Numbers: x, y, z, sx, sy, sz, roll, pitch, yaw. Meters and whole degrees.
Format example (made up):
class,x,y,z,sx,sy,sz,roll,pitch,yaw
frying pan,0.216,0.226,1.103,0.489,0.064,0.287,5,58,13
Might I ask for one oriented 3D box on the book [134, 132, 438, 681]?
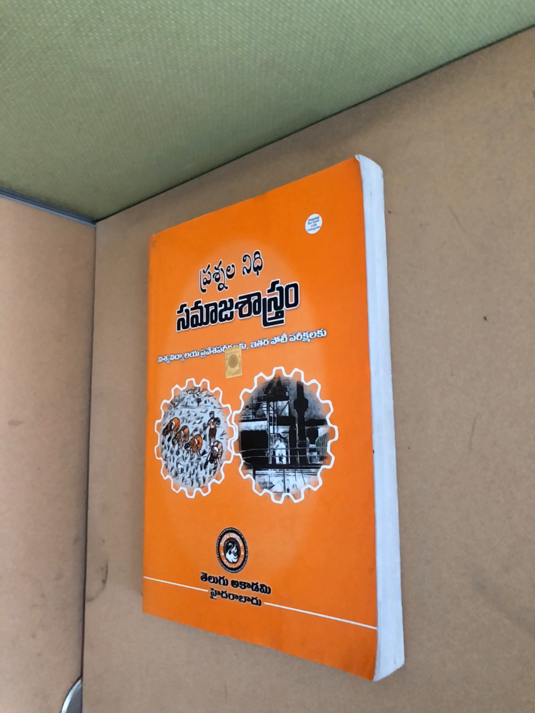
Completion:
class,x,y,z,sx,sy,sz,roll,pitch,yaw
book,-0.002,0.030,0.399,0.211,0.050,0.290,-8,78,41
